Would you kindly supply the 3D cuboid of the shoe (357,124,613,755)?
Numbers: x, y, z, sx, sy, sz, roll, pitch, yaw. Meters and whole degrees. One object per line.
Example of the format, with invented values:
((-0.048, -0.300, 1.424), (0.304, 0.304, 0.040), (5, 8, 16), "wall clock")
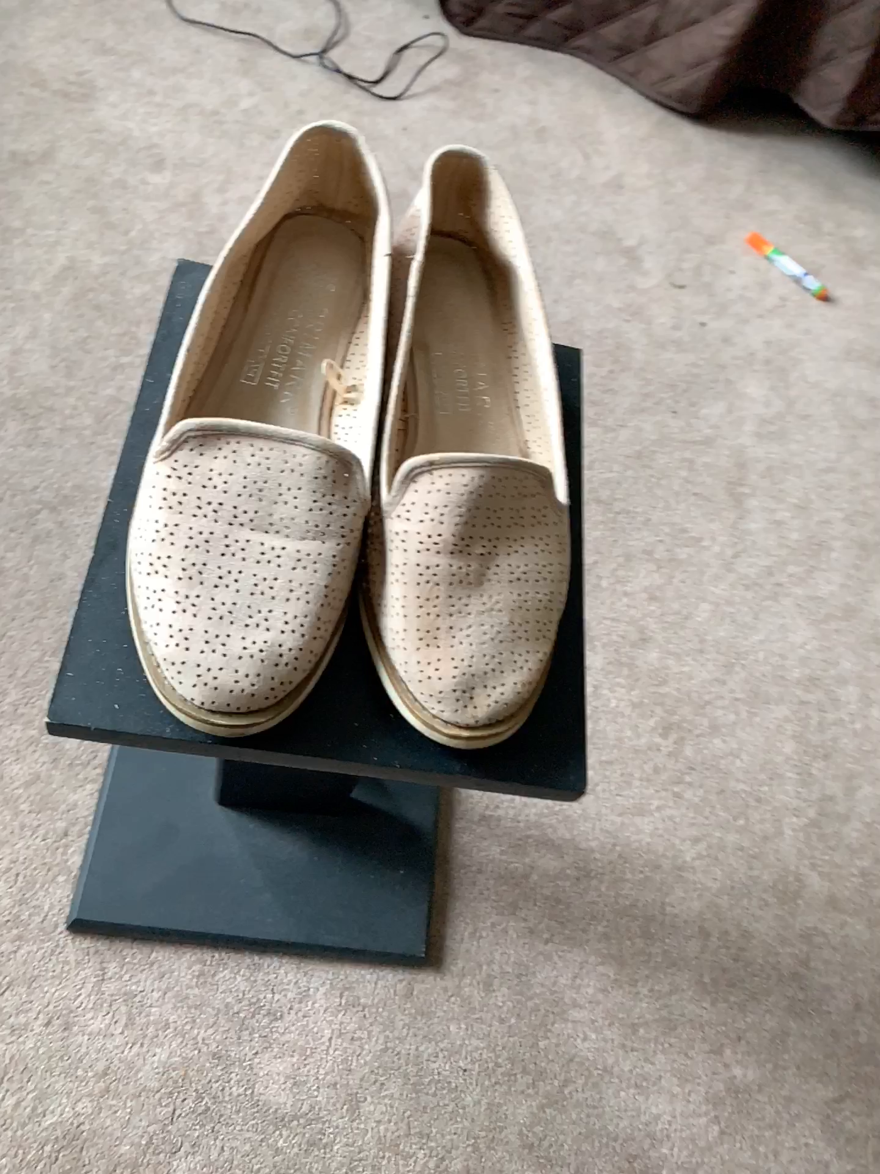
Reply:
((0.013, -0.060, 0.387), (0.080, 0.080, 0.251), (4, 72, -13), "shoe")

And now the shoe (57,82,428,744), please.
((-0.071, -0.073, 0.372), (0.080, 0.080, 0.251), (13, 68, -8), "shoe")
